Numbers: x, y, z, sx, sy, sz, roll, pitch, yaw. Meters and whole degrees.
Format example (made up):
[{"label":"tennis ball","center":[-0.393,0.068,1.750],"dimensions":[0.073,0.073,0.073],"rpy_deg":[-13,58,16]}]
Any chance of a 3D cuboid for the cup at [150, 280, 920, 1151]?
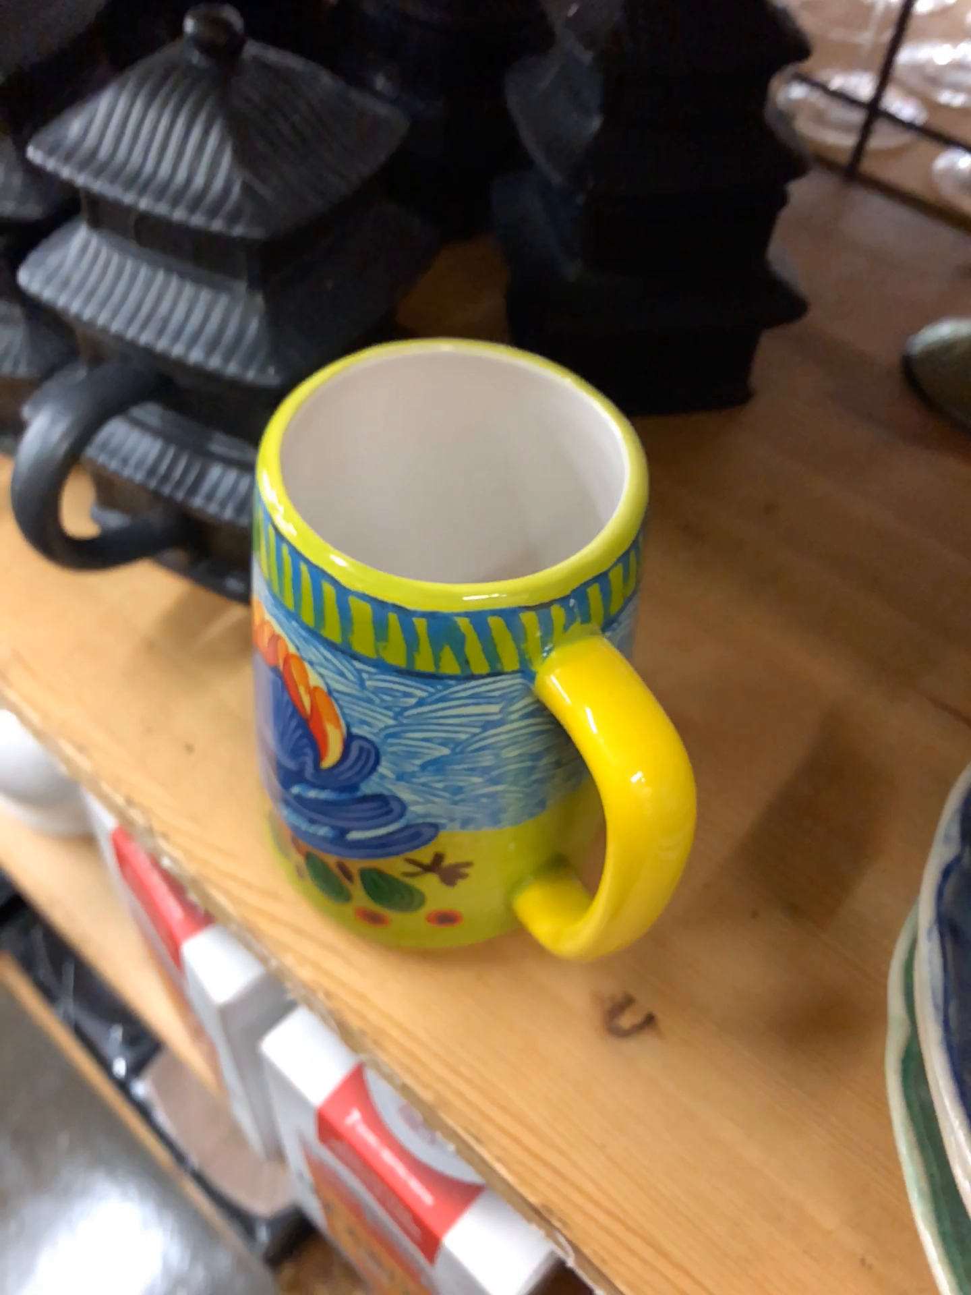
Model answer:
[{"label":"cup","center":[-0.001,0.015,0.236],"dimensions":[0.086,0.125,0.114],"rpy_deg":[-21,55,-20]}]
